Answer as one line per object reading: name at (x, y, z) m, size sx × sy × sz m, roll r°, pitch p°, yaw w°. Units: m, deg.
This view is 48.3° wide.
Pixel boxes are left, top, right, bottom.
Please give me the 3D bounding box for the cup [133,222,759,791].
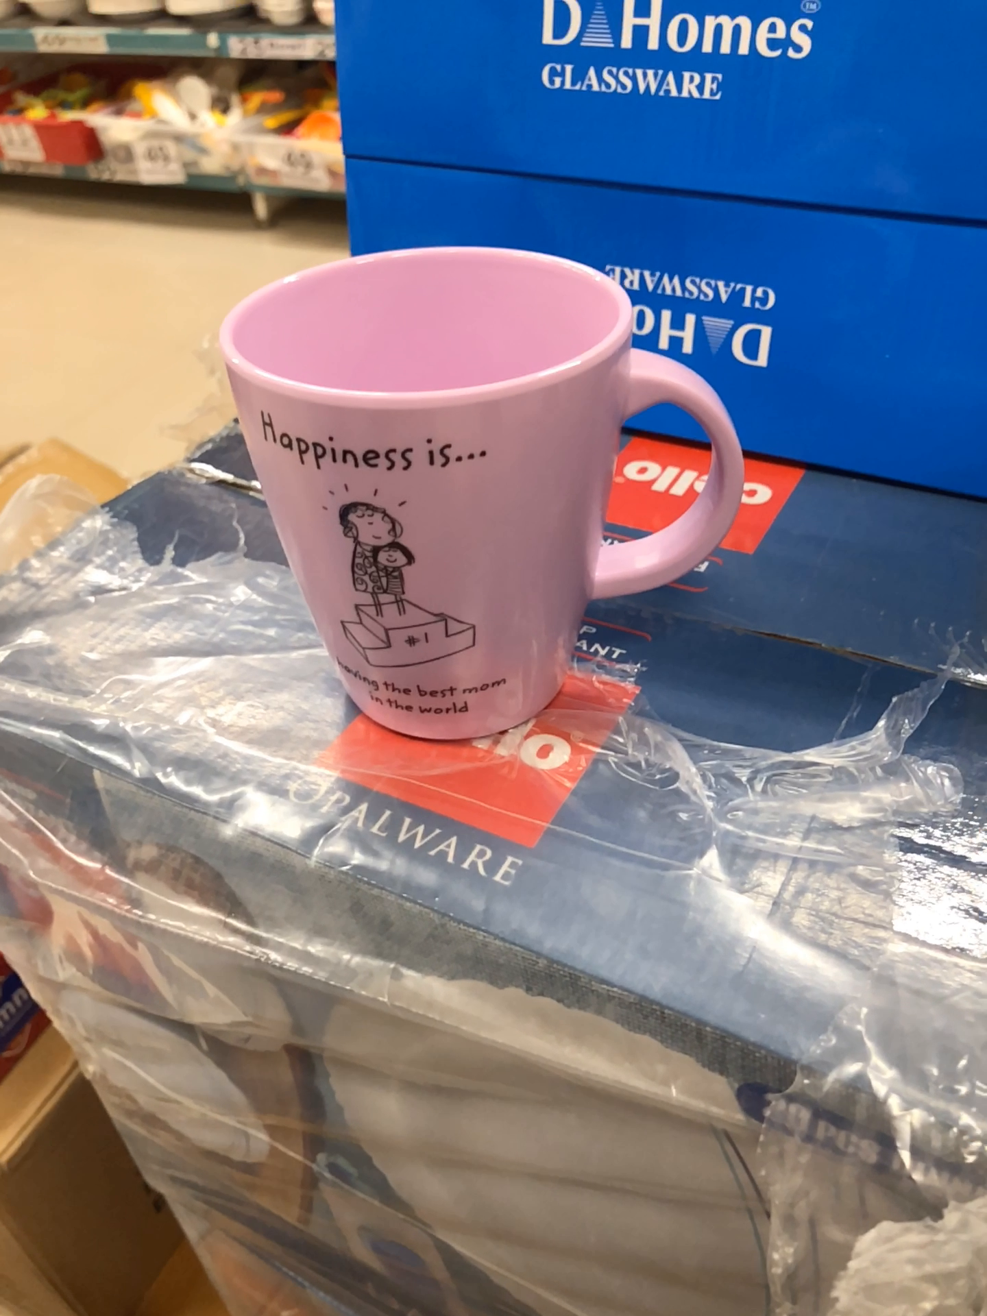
cup at (0.000, -0.039, 0.251) m, size 0.110 × 0.089 × 0.091 m, roll 4°, pitch 40°, yaw 10°
